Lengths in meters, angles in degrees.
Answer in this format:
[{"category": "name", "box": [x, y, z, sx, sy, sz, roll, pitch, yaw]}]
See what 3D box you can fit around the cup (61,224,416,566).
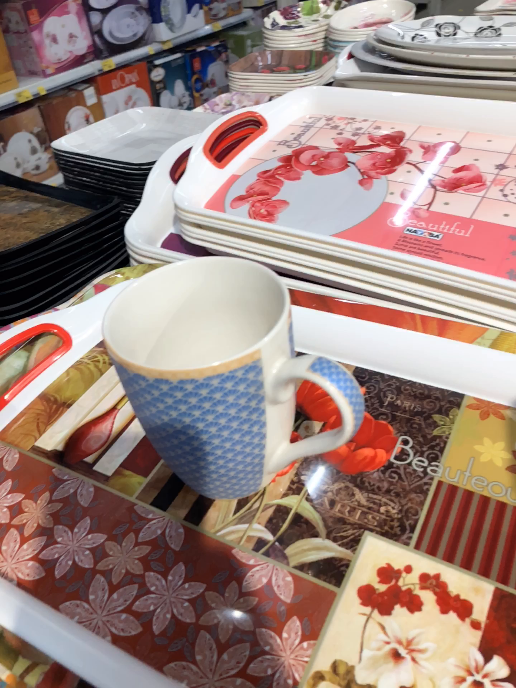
[{"category": "cup", "box": [-0.003, 0.017, 0.260, 0.120, 0.099, 0.081, 15, 42, 24]}]
